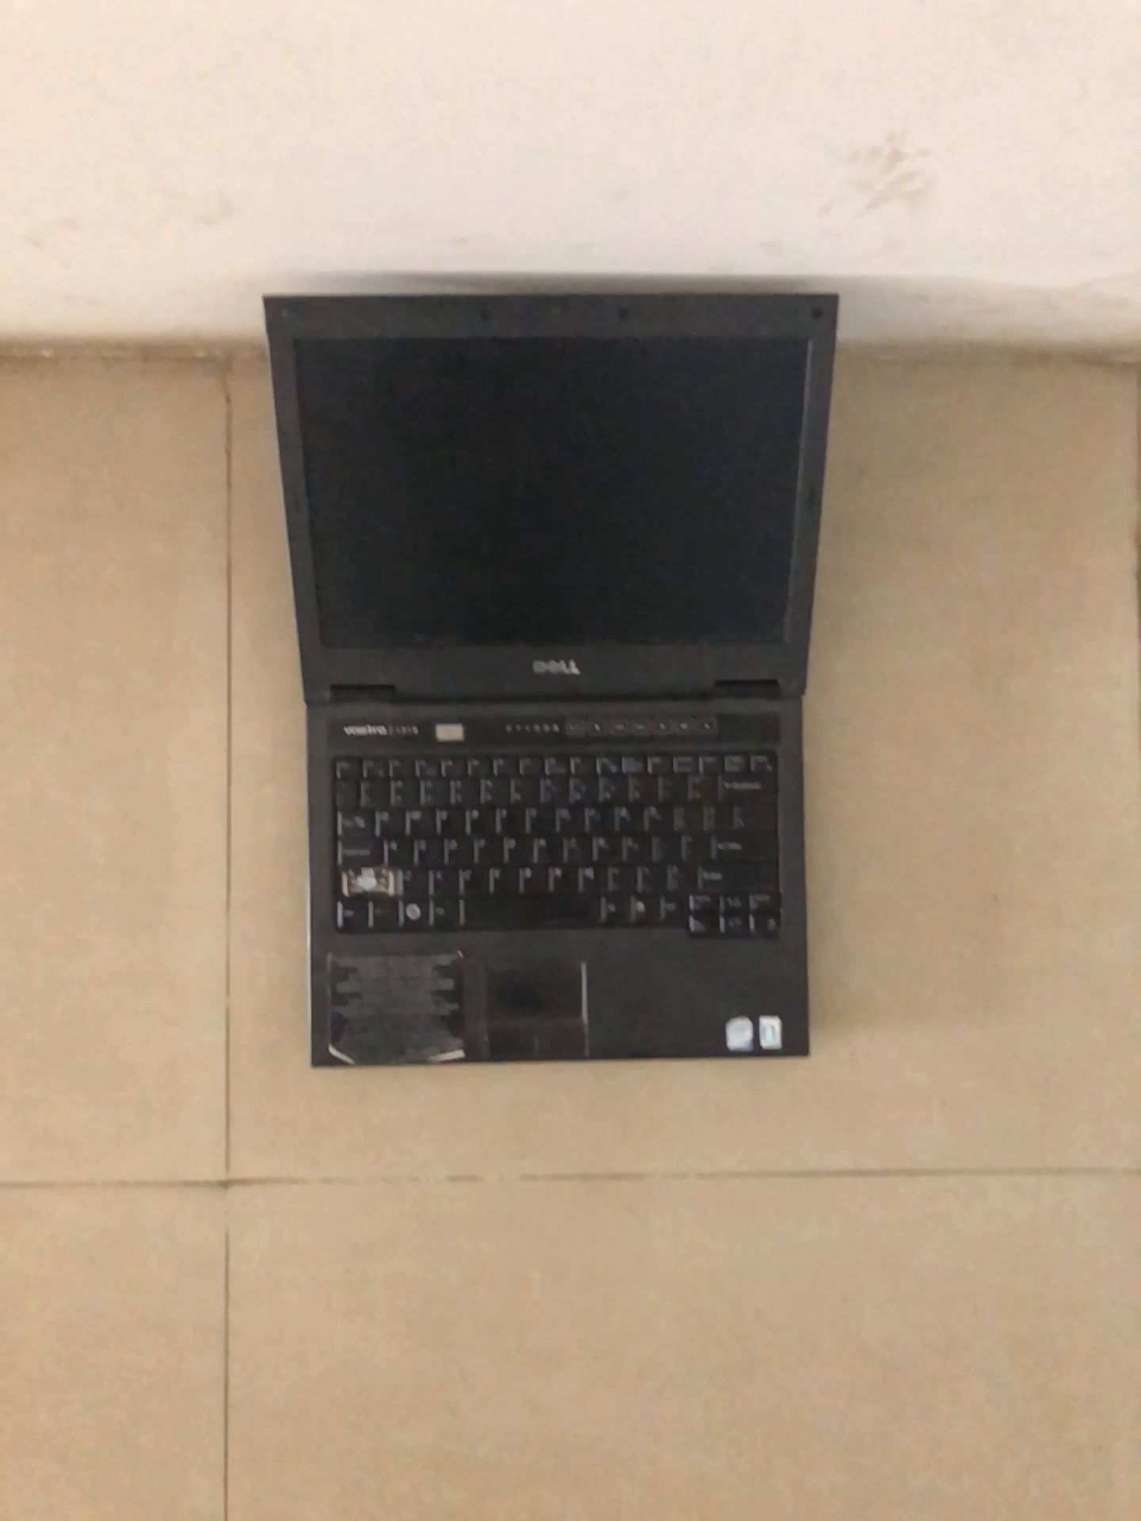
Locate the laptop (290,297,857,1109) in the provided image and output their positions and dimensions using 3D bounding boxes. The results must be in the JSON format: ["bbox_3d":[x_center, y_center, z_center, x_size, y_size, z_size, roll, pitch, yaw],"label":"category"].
[{"bbox_3d":[-0.001,-0.032,0.731,0.299,0.114,0.432,-1,88,-1],"label":"laptop"}]
